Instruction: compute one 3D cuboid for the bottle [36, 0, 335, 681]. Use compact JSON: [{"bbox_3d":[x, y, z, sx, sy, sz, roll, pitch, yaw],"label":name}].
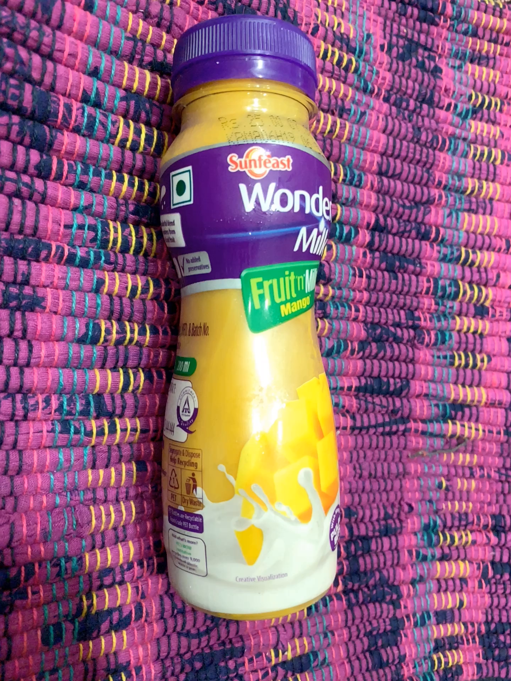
[{"bbox_3d":[-0.017,-0.001,0.132,0.050,0.040,0.150,-4,91,-36],"label":"bottle"}]
